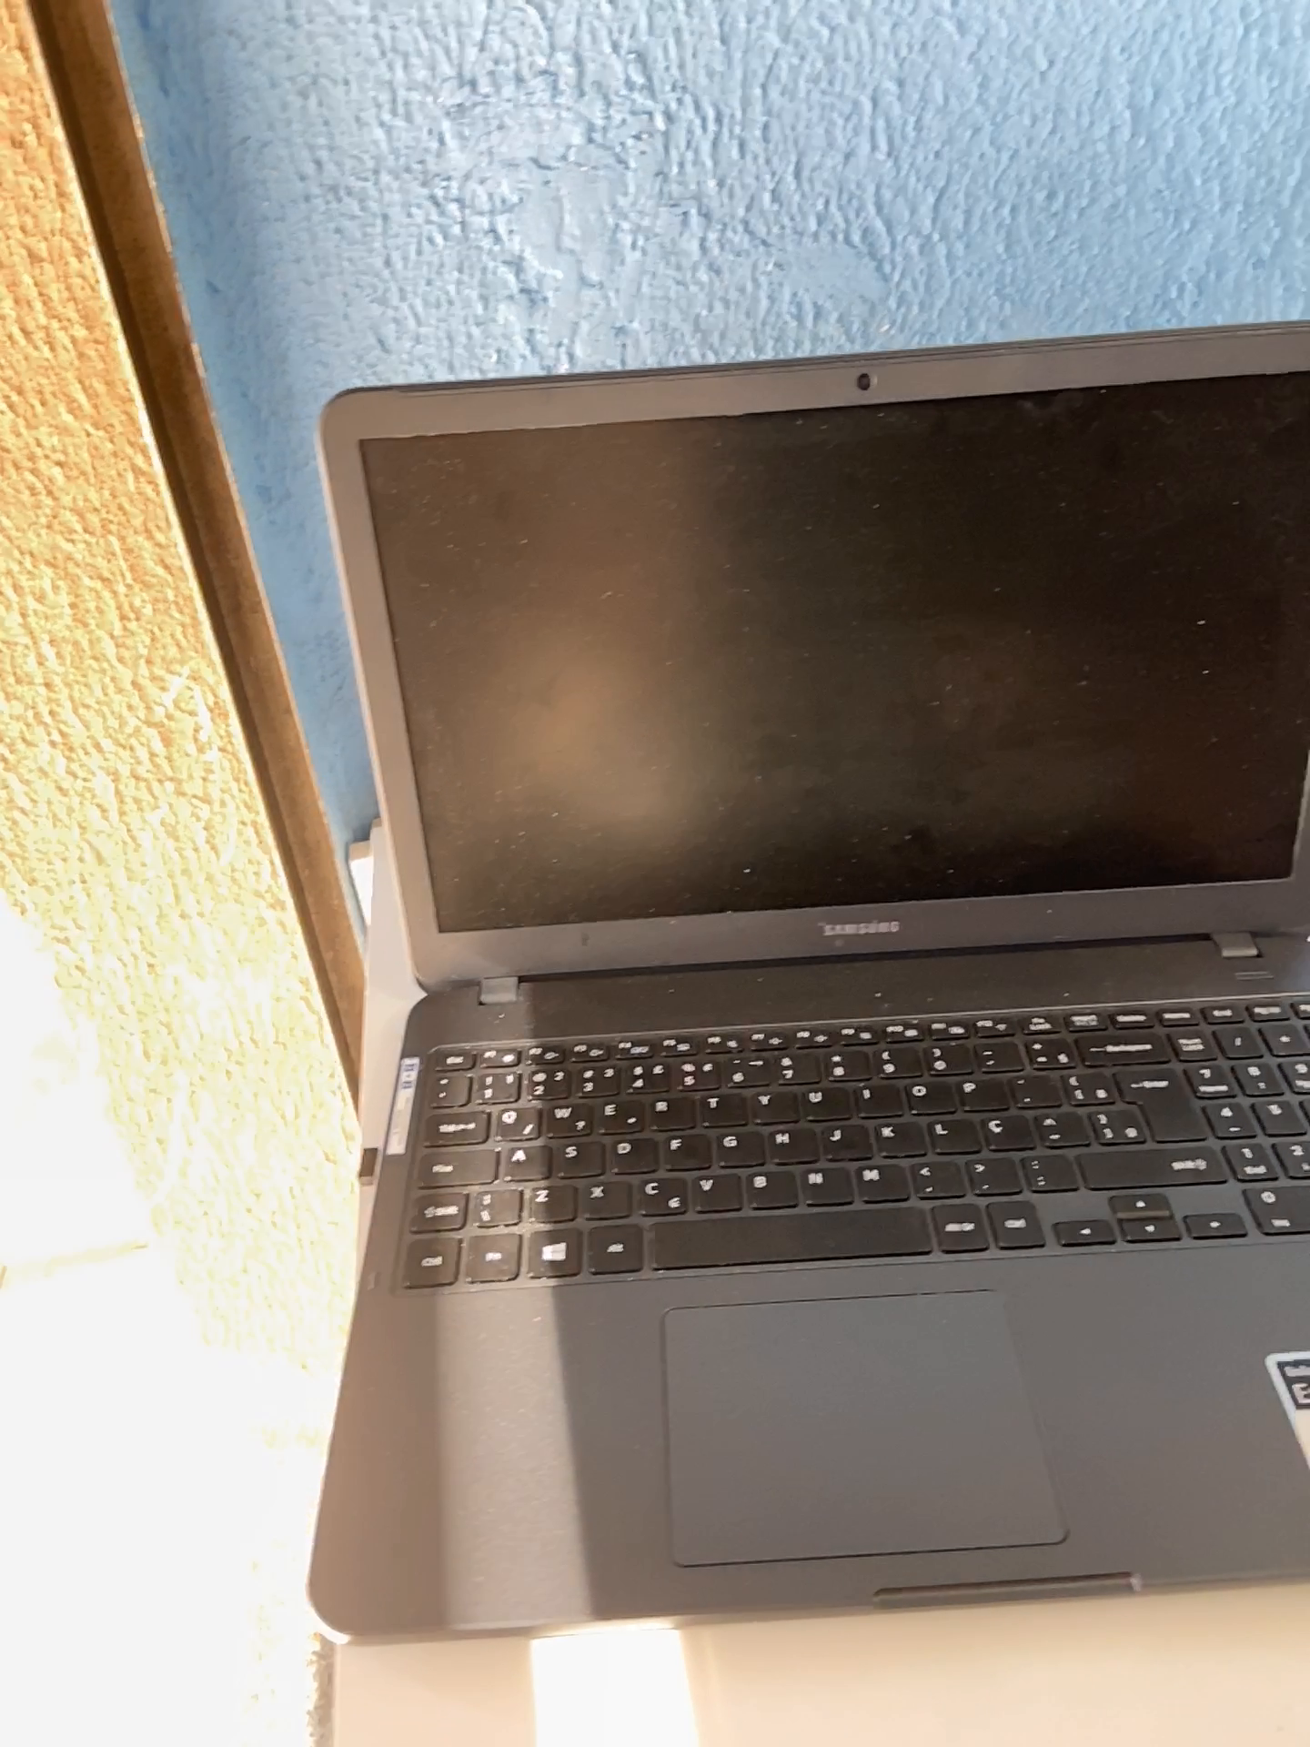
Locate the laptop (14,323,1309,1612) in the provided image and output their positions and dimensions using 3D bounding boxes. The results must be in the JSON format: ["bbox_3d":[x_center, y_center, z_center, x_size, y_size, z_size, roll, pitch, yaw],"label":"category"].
[{"bbox_3d":[0.081,0.007,0.408,0.370,0.232,0.288,-4,37,1],"label":"laptop"}]
